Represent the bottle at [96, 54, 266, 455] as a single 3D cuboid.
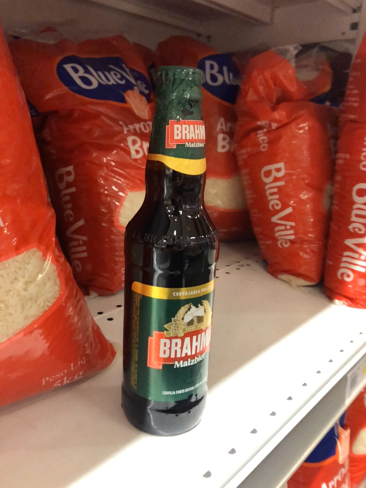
[{"bbox_3d":[-0.007,0.008,0.264,0.060,0.229,0.070,20,23,41],"label":"bottle"}]
